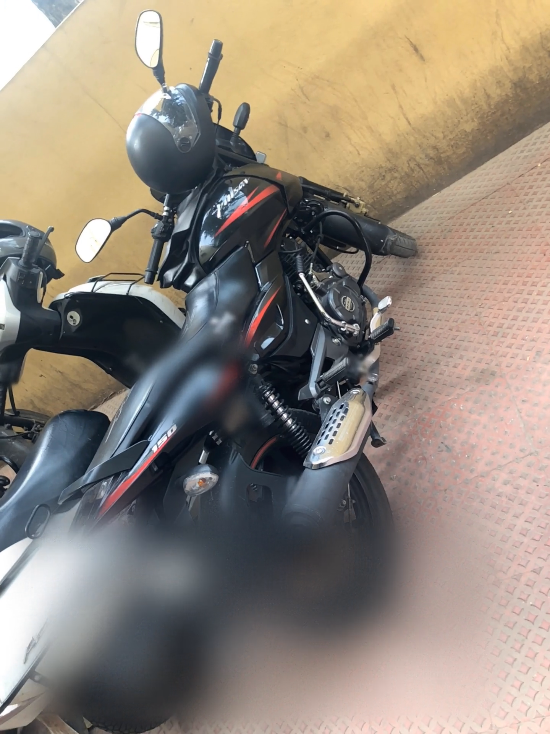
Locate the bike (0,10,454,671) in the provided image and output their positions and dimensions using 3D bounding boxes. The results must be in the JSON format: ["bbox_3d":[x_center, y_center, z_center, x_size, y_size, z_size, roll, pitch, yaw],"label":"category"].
[{"bbox_3d":[-0.232,-0.120,1.873,0.827,1.057,1.610,-28,38,28],"label":"bike"}]
